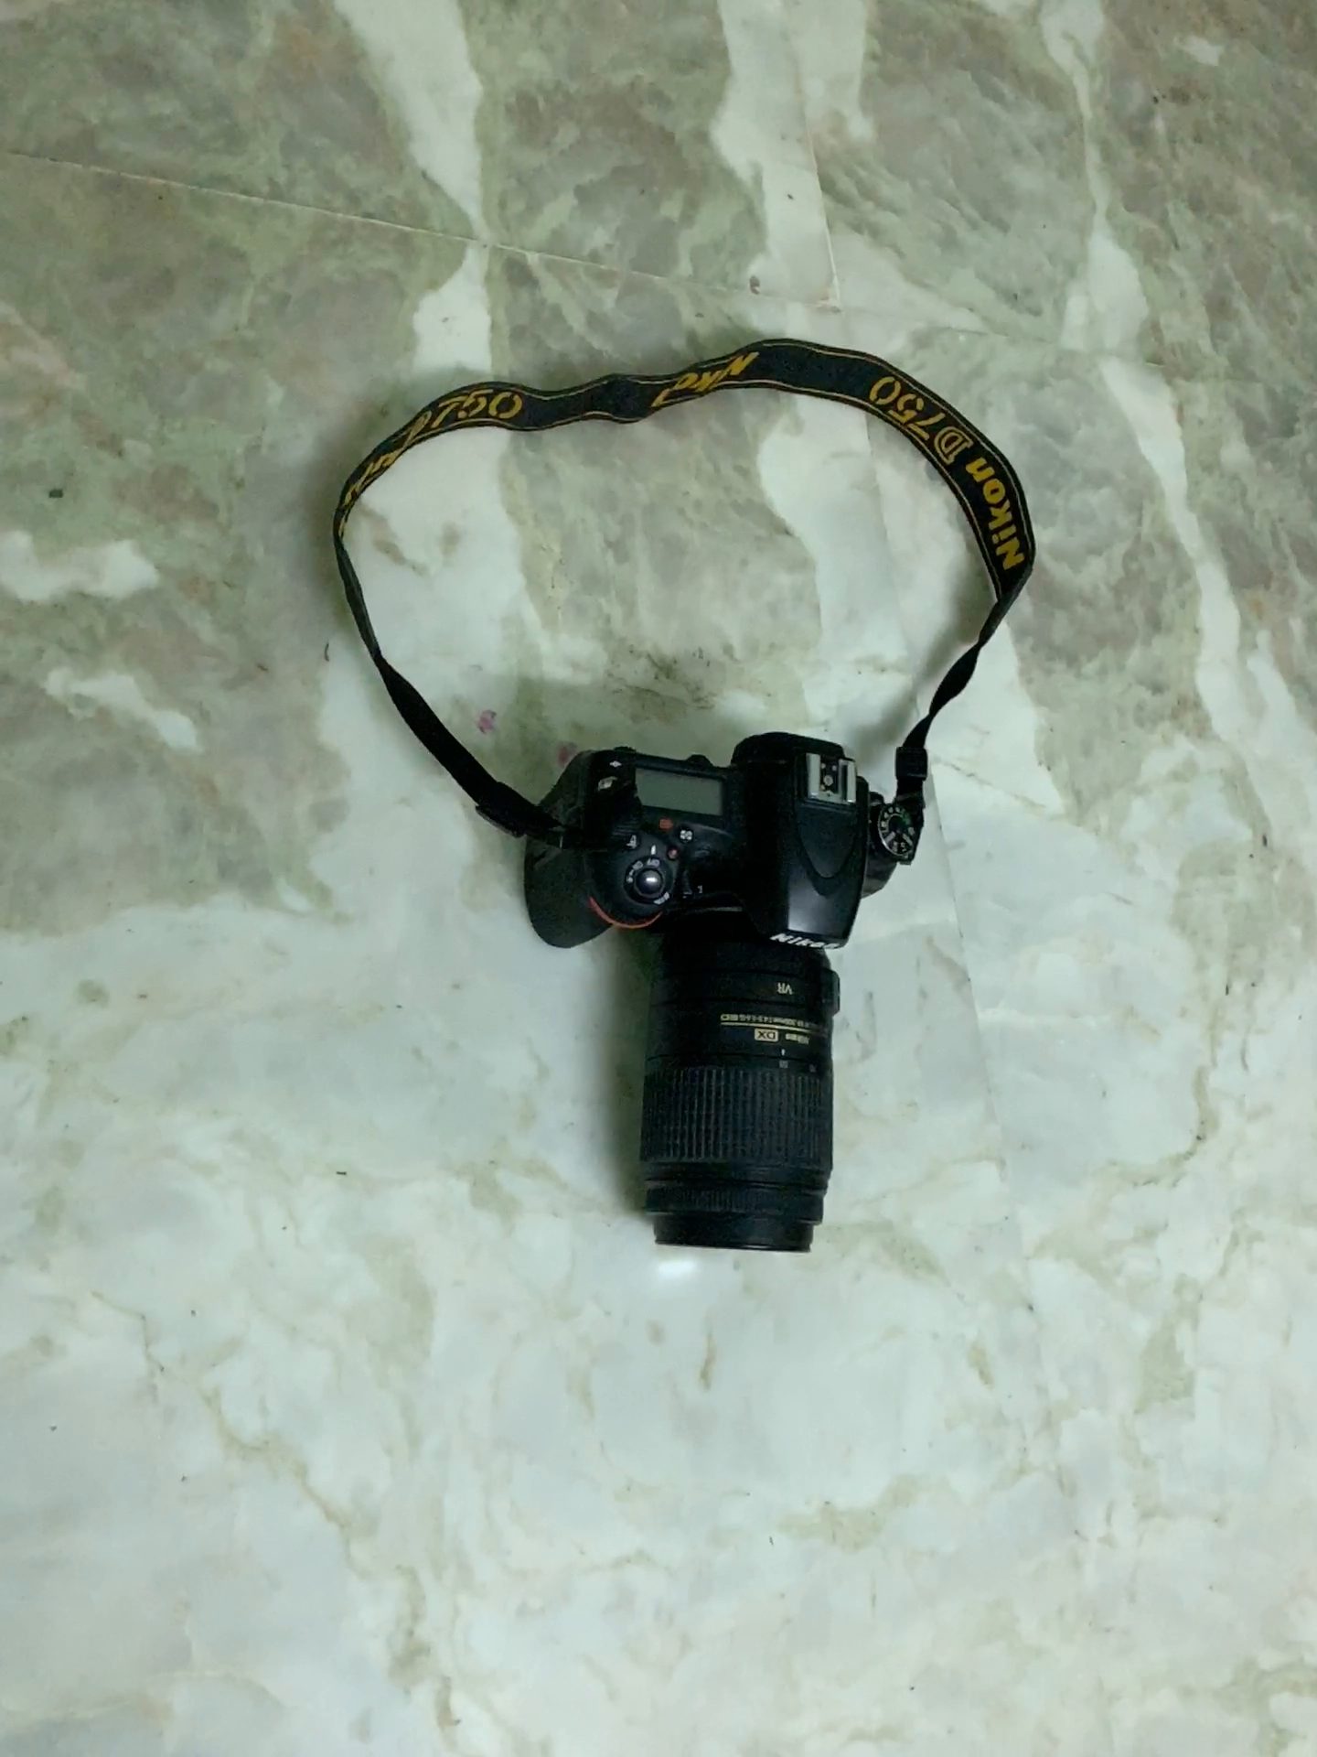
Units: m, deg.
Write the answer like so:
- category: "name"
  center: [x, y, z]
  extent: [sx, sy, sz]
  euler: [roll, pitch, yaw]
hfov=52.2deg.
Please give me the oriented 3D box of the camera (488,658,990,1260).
- category: "camera"
  center: [0.028, 0.043, 0.534]
  extent: [0.150, 0.120, 0.200]
  euler: [9, 70, -22]
